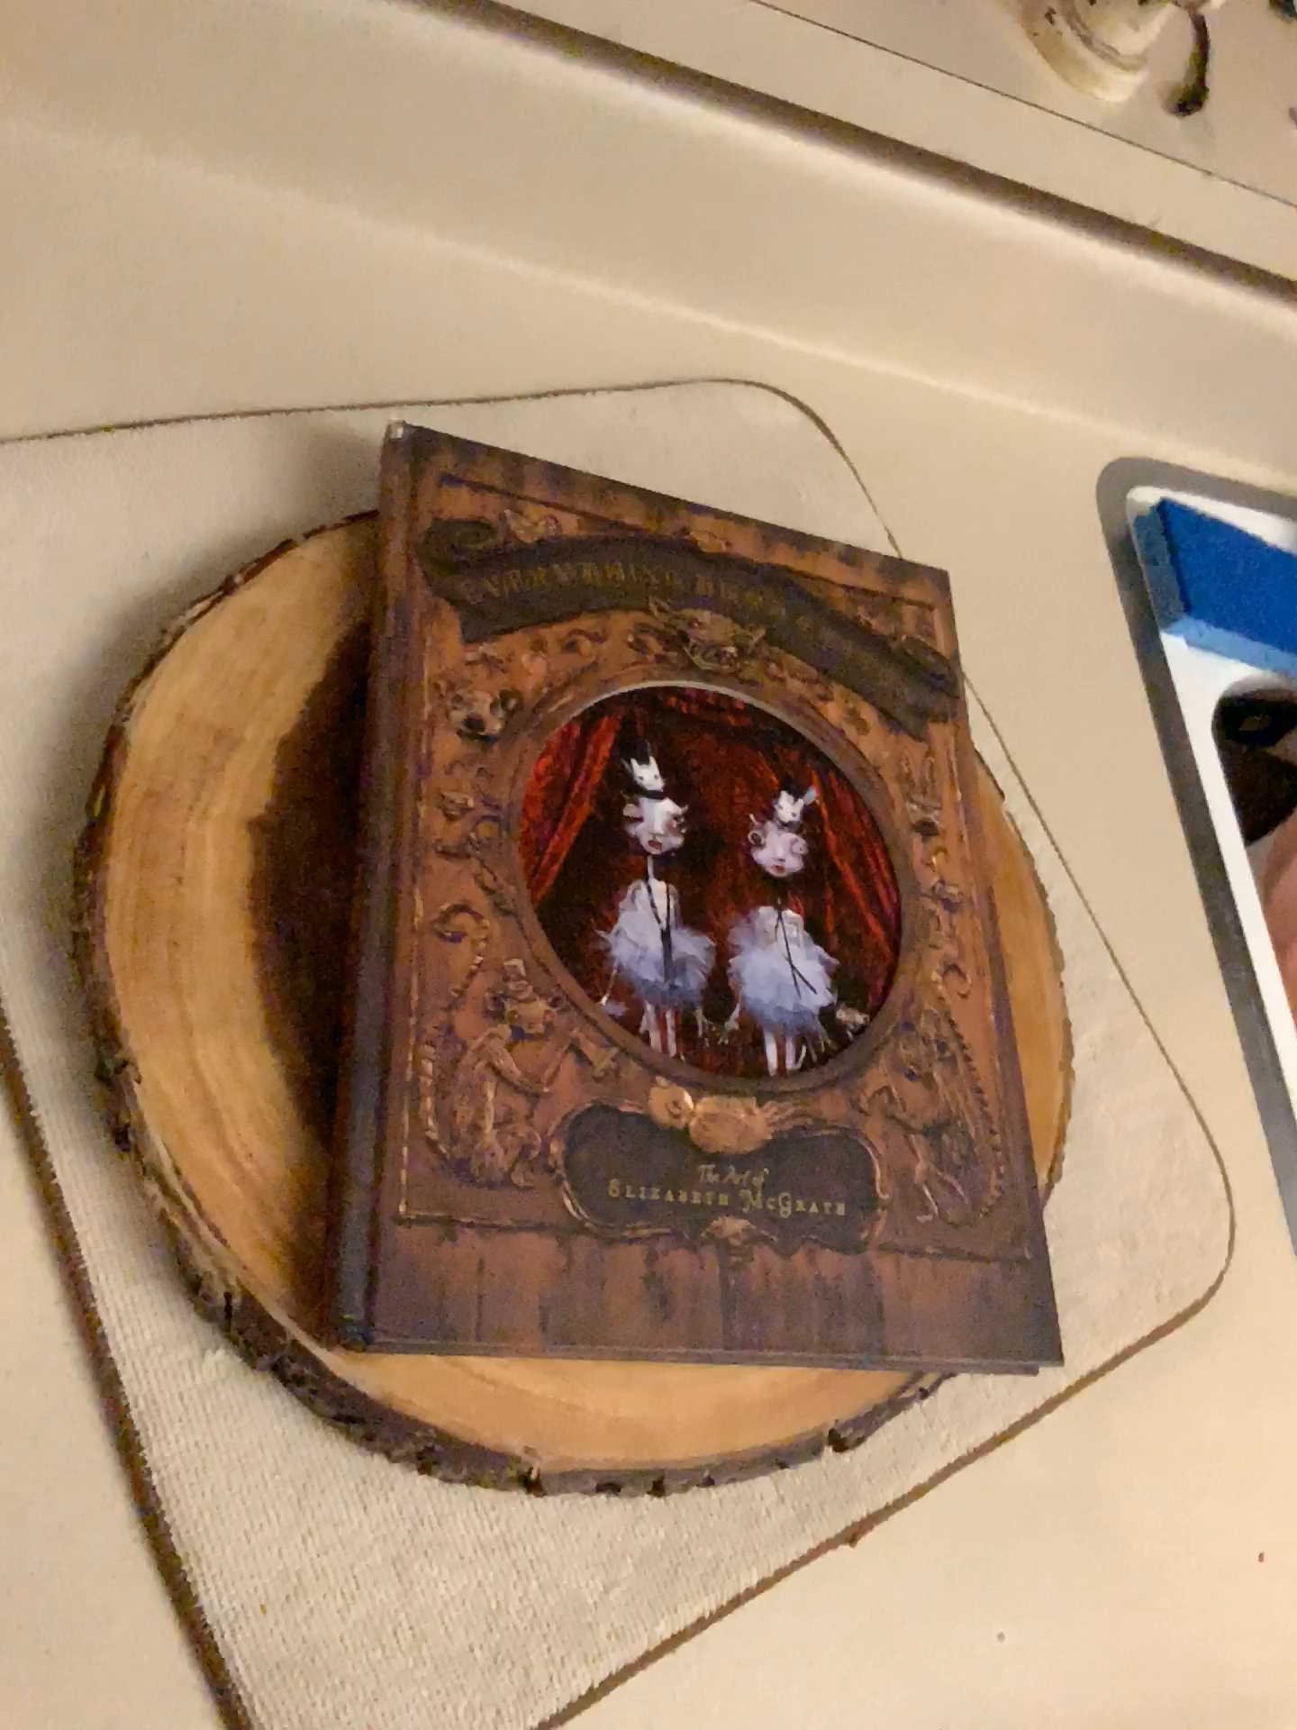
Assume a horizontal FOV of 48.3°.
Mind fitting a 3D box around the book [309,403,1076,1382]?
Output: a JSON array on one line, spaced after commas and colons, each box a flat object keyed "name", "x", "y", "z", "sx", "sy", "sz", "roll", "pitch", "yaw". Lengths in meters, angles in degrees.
[{"name": "book", "x": 0.017, "y": 0.003, "z": 0.476, "sx": 0.230, "sy": 0.020, "sz": 0.310, "roll": 10, "pitch": 61, "yaw": -22}]
